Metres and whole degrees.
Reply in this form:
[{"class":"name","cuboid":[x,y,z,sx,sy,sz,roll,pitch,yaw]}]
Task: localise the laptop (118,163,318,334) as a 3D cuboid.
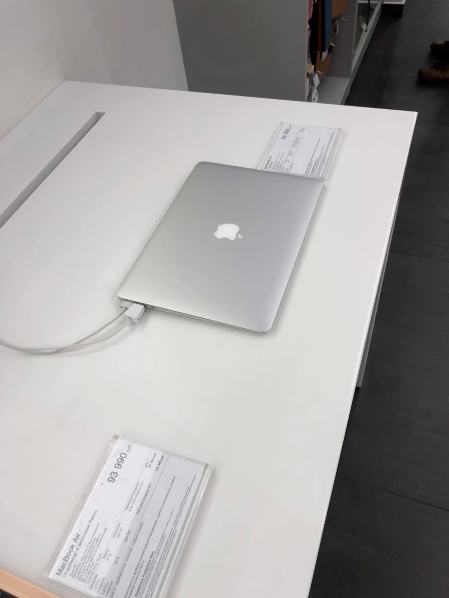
[{"class":"laptop","cuboid":[0.003,-0.097,0.748,0.209,0.008,0.308,14,53,15]}]
